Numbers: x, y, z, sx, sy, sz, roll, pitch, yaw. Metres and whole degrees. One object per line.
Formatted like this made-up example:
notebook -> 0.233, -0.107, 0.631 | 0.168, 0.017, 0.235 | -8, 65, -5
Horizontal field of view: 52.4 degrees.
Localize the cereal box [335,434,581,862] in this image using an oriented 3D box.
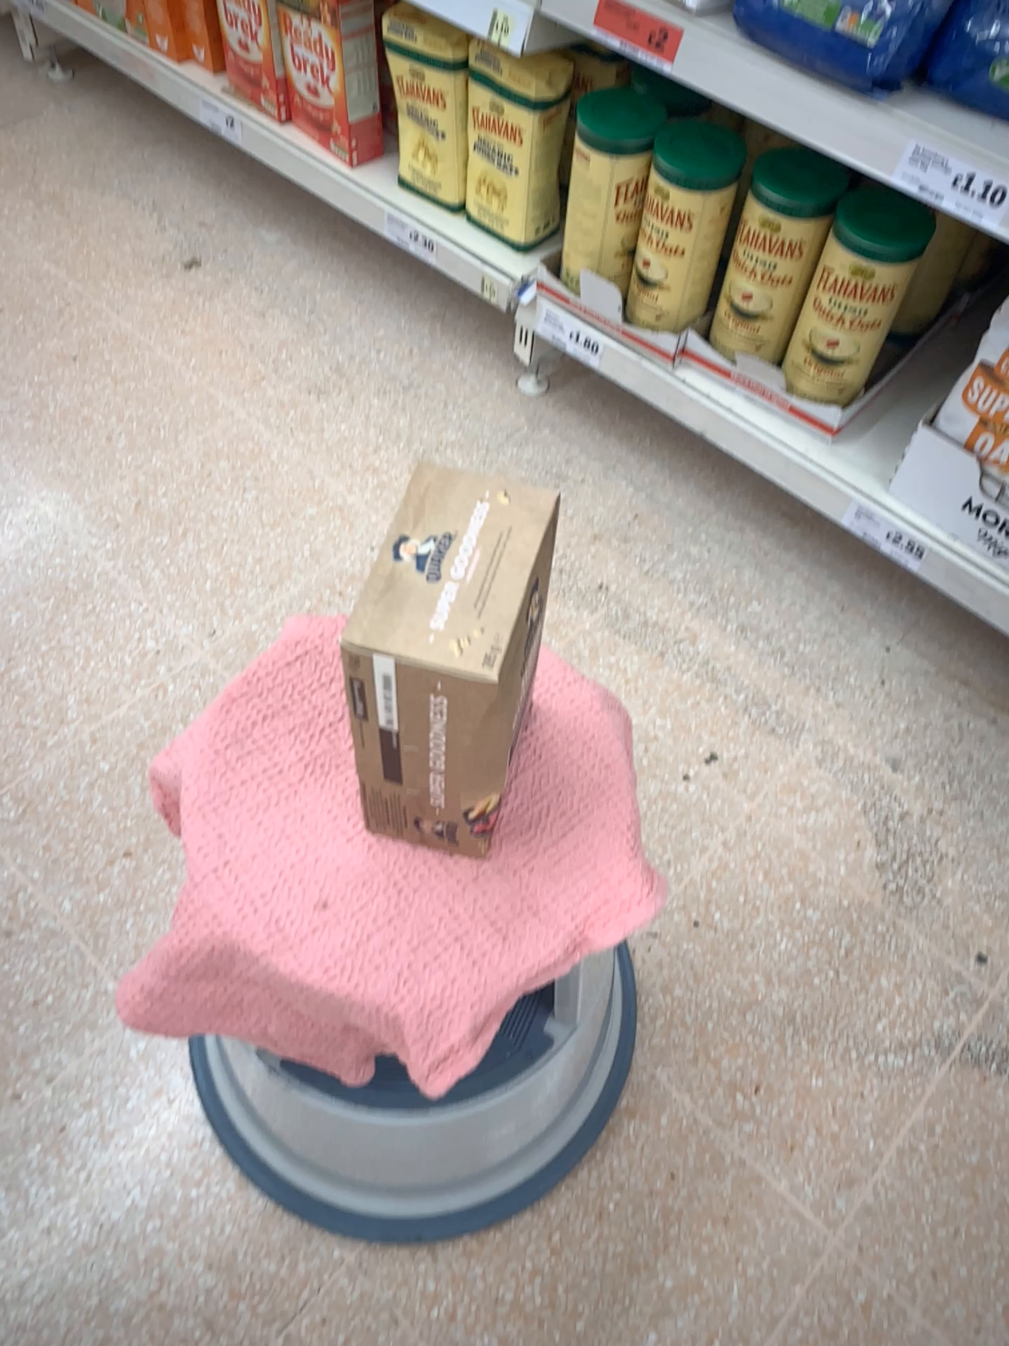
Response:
cereal box -> -0.026, -0.005, 0.586 | 0.090, 0.208, 0.131 | 13, 55, 4
